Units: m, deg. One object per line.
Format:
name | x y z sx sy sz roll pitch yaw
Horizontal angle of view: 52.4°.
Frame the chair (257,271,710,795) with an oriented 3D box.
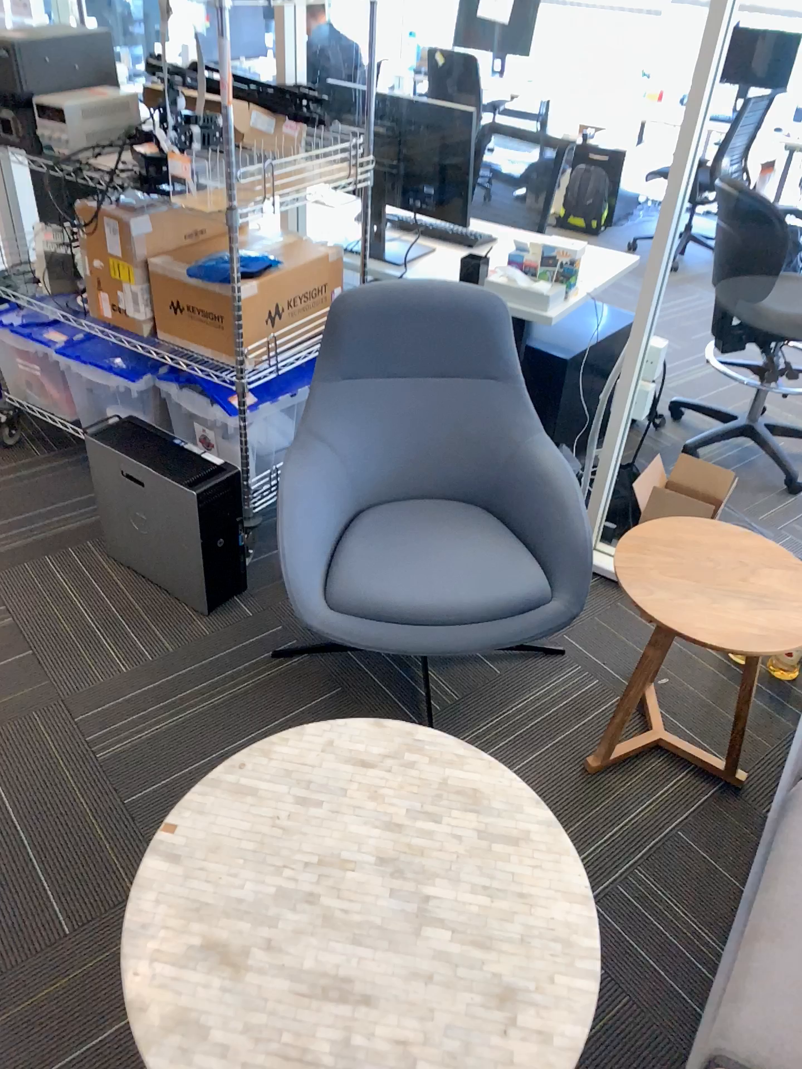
chair | 0.100 -0.034 2.180 0.840 0.965 1.006 1 37 -5
